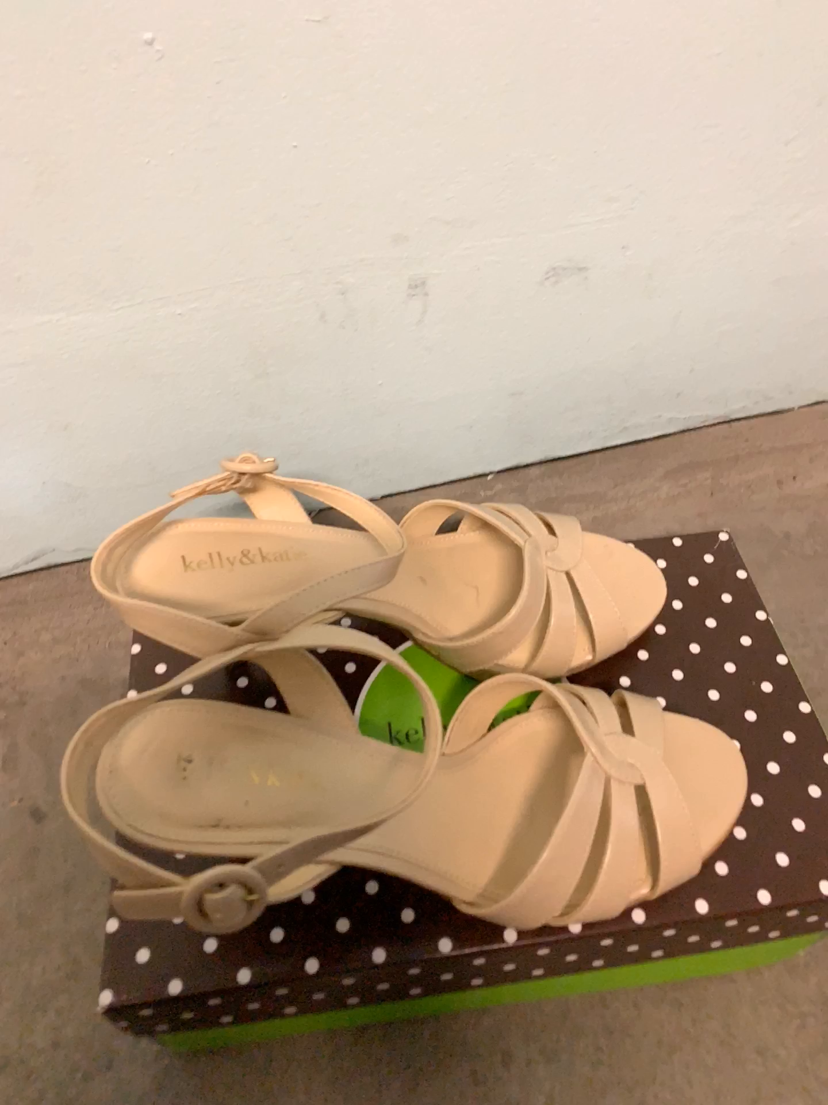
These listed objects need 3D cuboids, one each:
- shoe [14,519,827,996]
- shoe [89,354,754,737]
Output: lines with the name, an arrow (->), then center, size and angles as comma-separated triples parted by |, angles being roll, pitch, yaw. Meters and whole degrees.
shoe -> 0.010, 0.073, 0.303 | 0.240, 0.109, 0.101 | -6, 50, -3
shoe -> 0.001, -0.003, 0.379 | 0.240, 0.109, 0.101 | -6, 50, -3
